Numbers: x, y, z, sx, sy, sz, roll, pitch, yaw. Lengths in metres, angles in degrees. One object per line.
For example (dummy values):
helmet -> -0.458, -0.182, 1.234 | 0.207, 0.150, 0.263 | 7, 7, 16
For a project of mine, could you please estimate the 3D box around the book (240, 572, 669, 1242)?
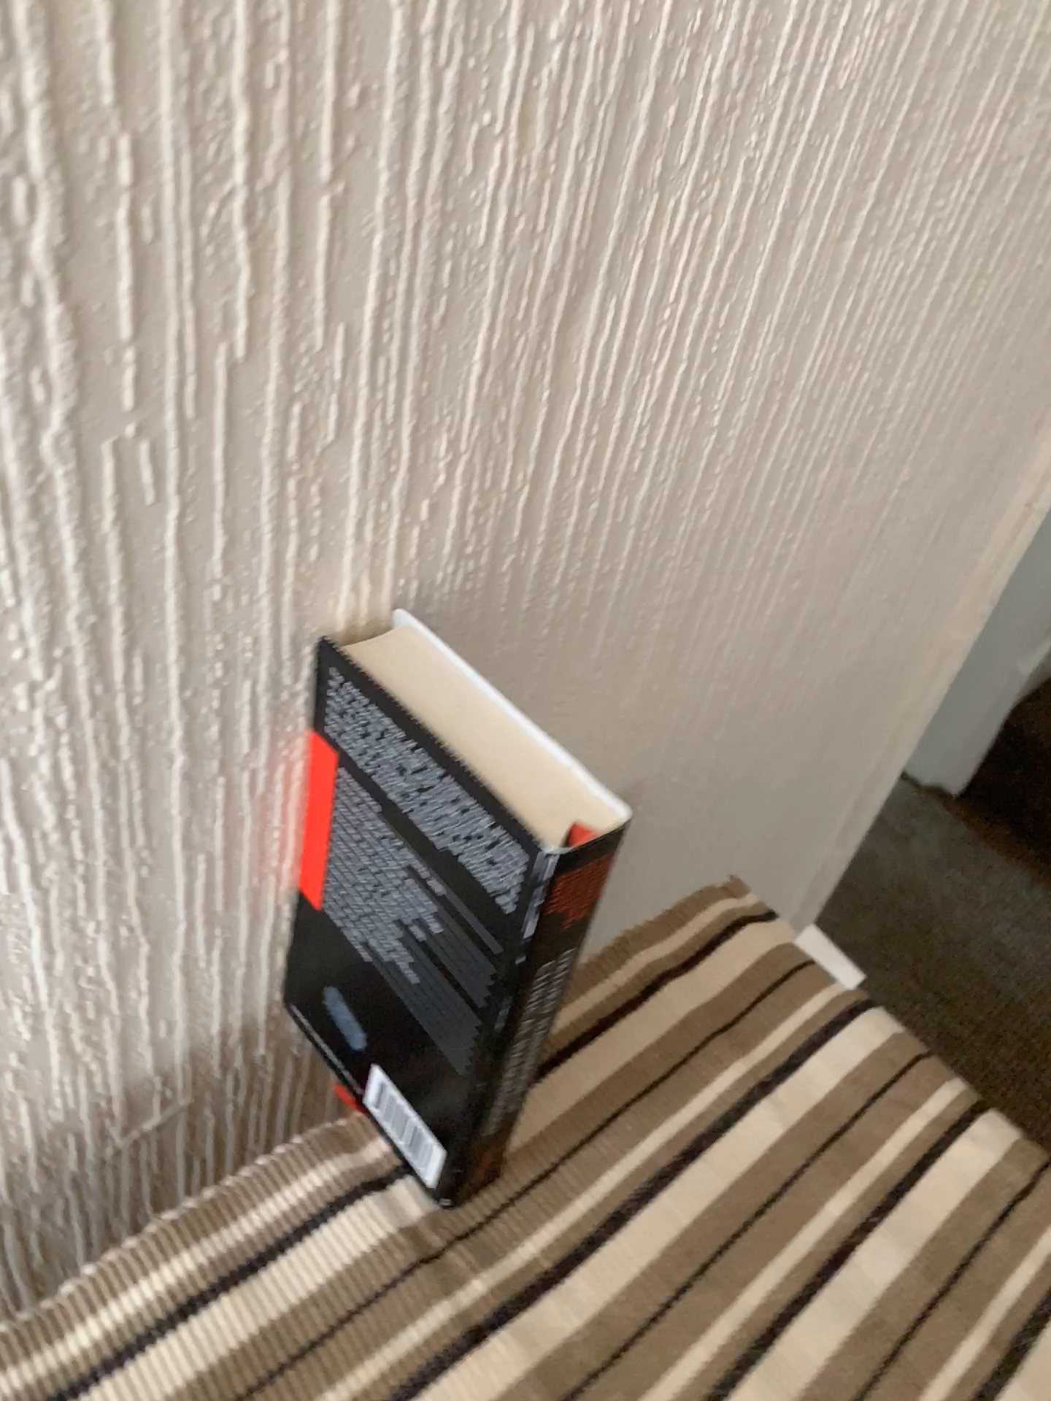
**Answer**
book -> -0.037, 0.072, 0.353 | 0.040, 0.188, 0.121 | -25, 53, -39
